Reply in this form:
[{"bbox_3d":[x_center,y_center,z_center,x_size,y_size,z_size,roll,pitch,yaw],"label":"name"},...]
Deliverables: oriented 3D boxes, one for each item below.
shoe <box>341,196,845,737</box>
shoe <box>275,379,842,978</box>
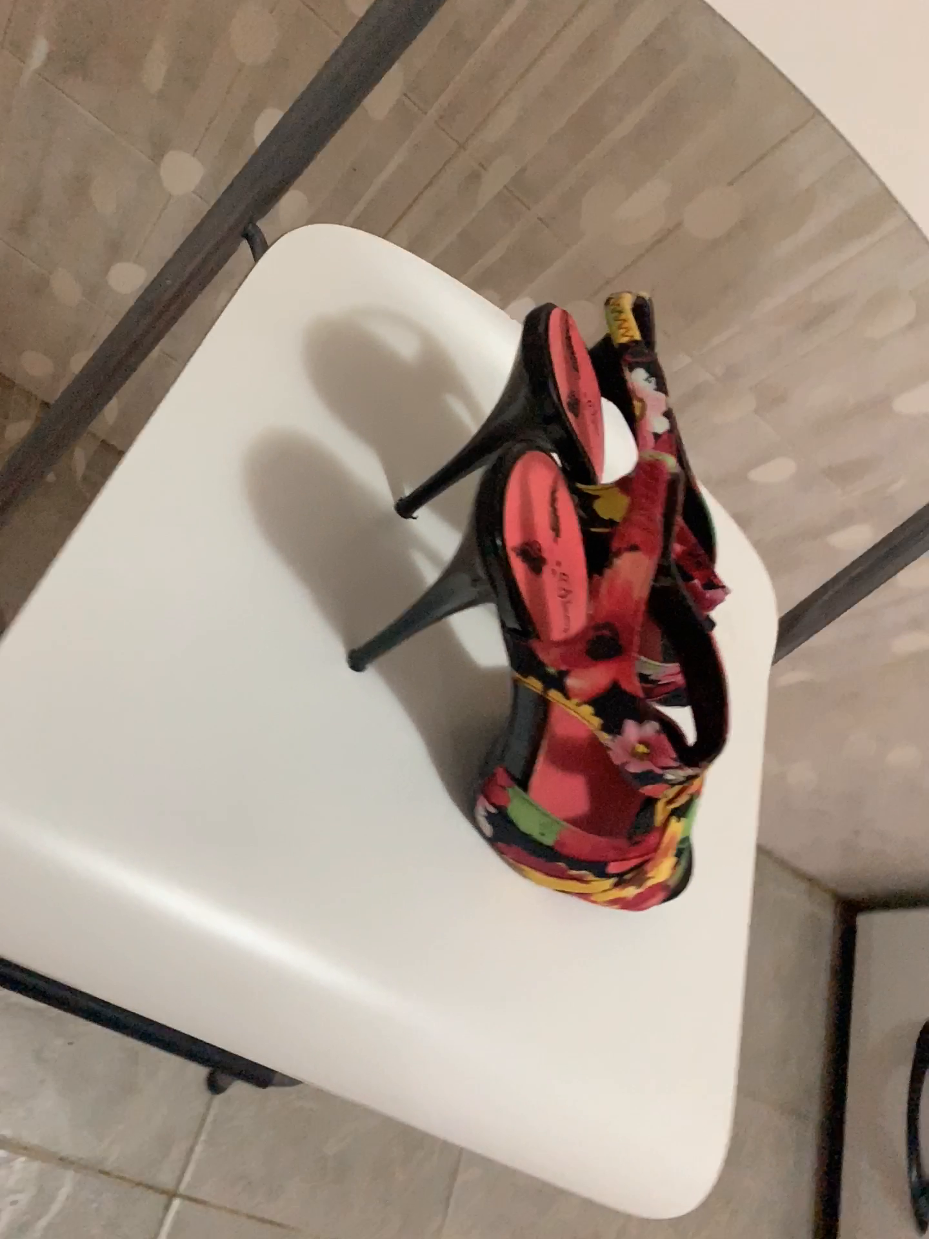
[{"bbox_3d":[0.064,-0.039,0.366,0.205,0.085,0.080,40,52,-37],"label":"shoe"},{"bbox_3d":[0.047,0.033,0.319,0.205,0.073,0.083,47,50,-32],"label":"shoe"}]
